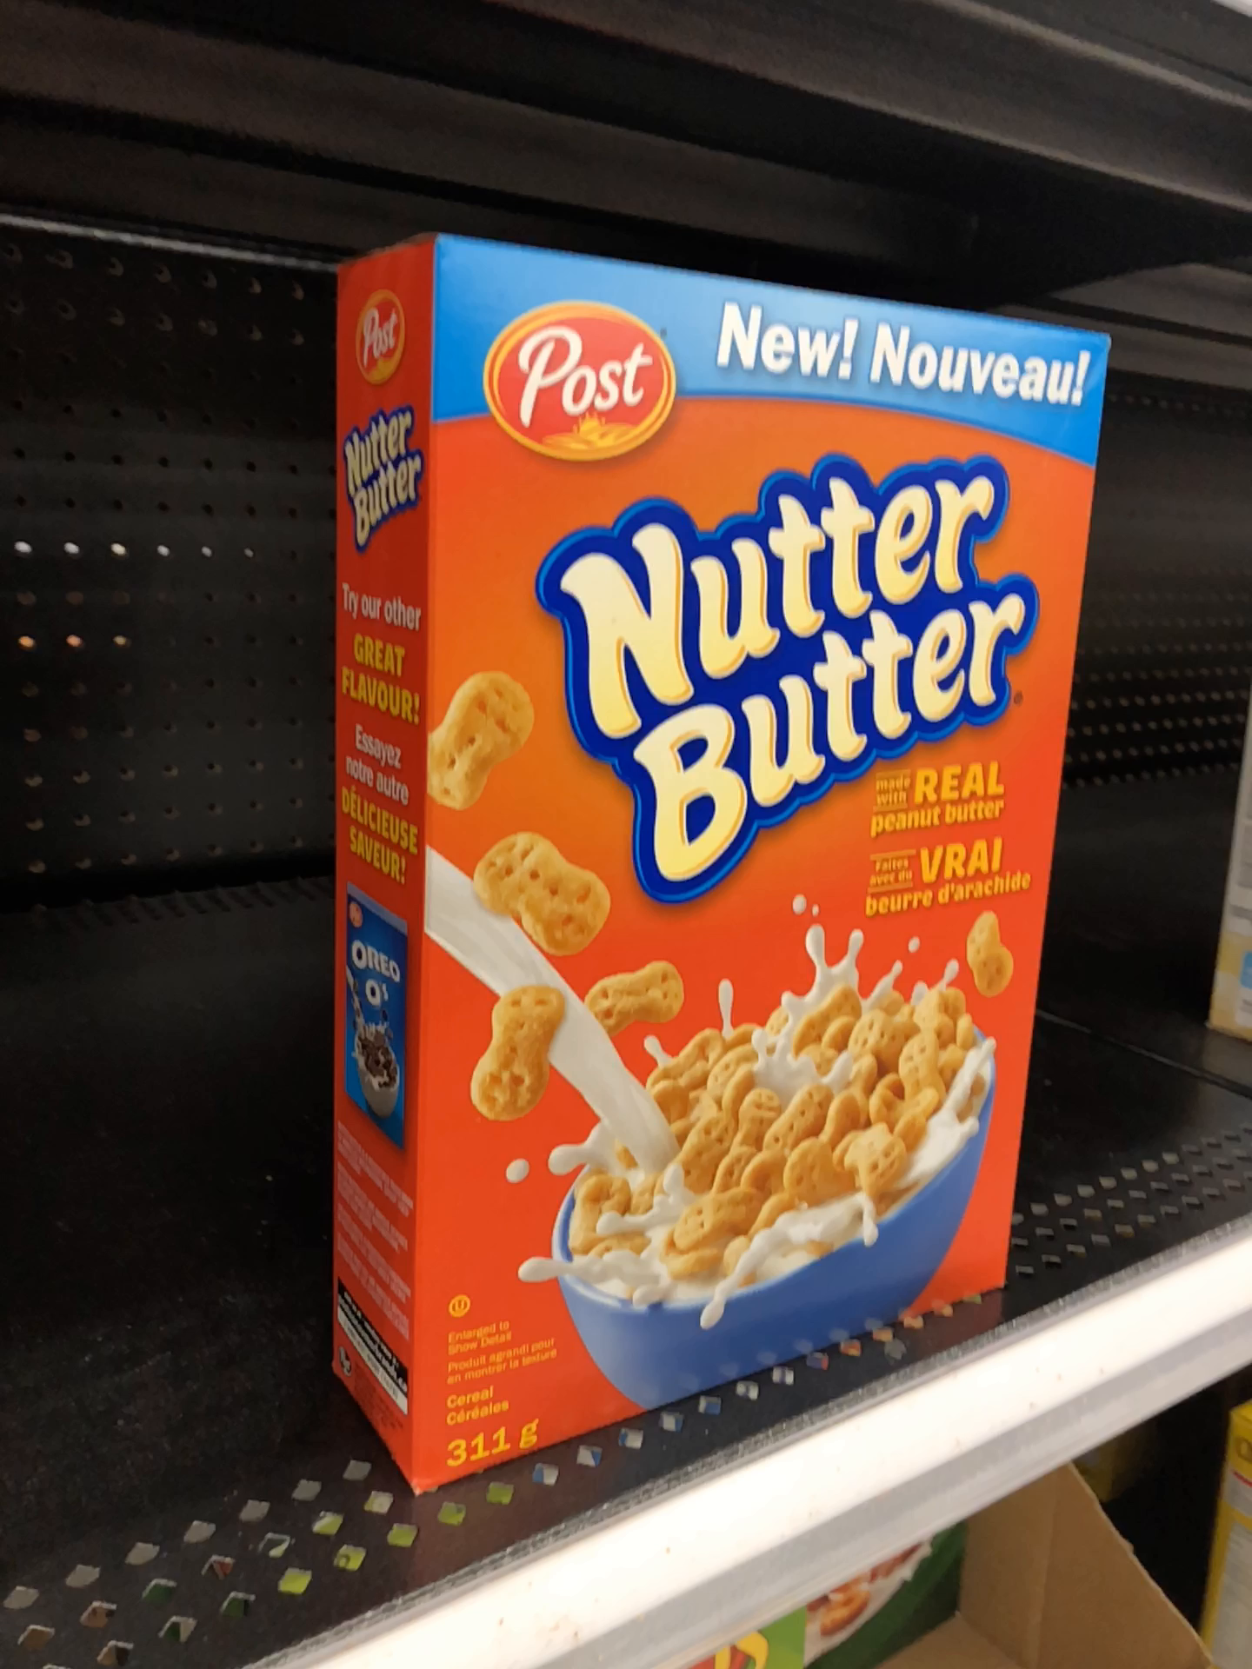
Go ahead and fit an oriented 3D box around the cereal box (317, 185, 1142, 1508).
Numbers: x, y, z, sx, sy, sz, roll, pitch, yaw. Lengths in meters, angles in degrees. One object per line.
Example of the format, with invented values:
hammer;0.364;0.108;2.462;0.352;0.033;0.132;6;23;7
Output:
cereal box;0.027;0.002;0.361;0.200;0.279;0.060;-5;15;-31
